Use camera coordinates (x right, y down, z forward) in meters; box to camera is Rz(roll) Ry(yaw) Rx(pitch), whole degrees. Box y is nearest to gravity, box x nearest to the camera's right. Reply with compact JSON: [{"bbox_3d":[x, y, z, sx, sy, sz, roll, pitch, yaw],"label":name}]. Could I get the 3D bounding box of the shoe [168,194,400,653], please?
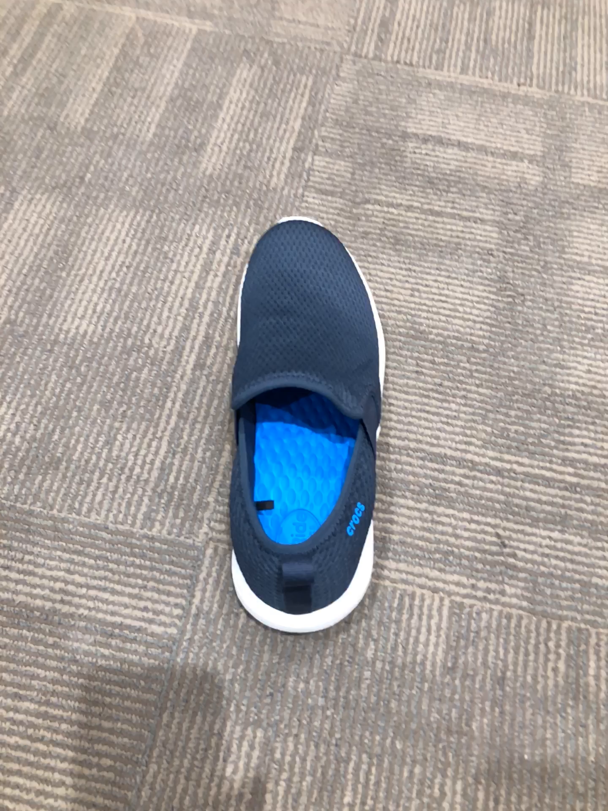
[{"bbox_3d":[-0.004,0.010,0.443,0.110,0.119,0.271,5,64,0],"label":"shoe"}]
